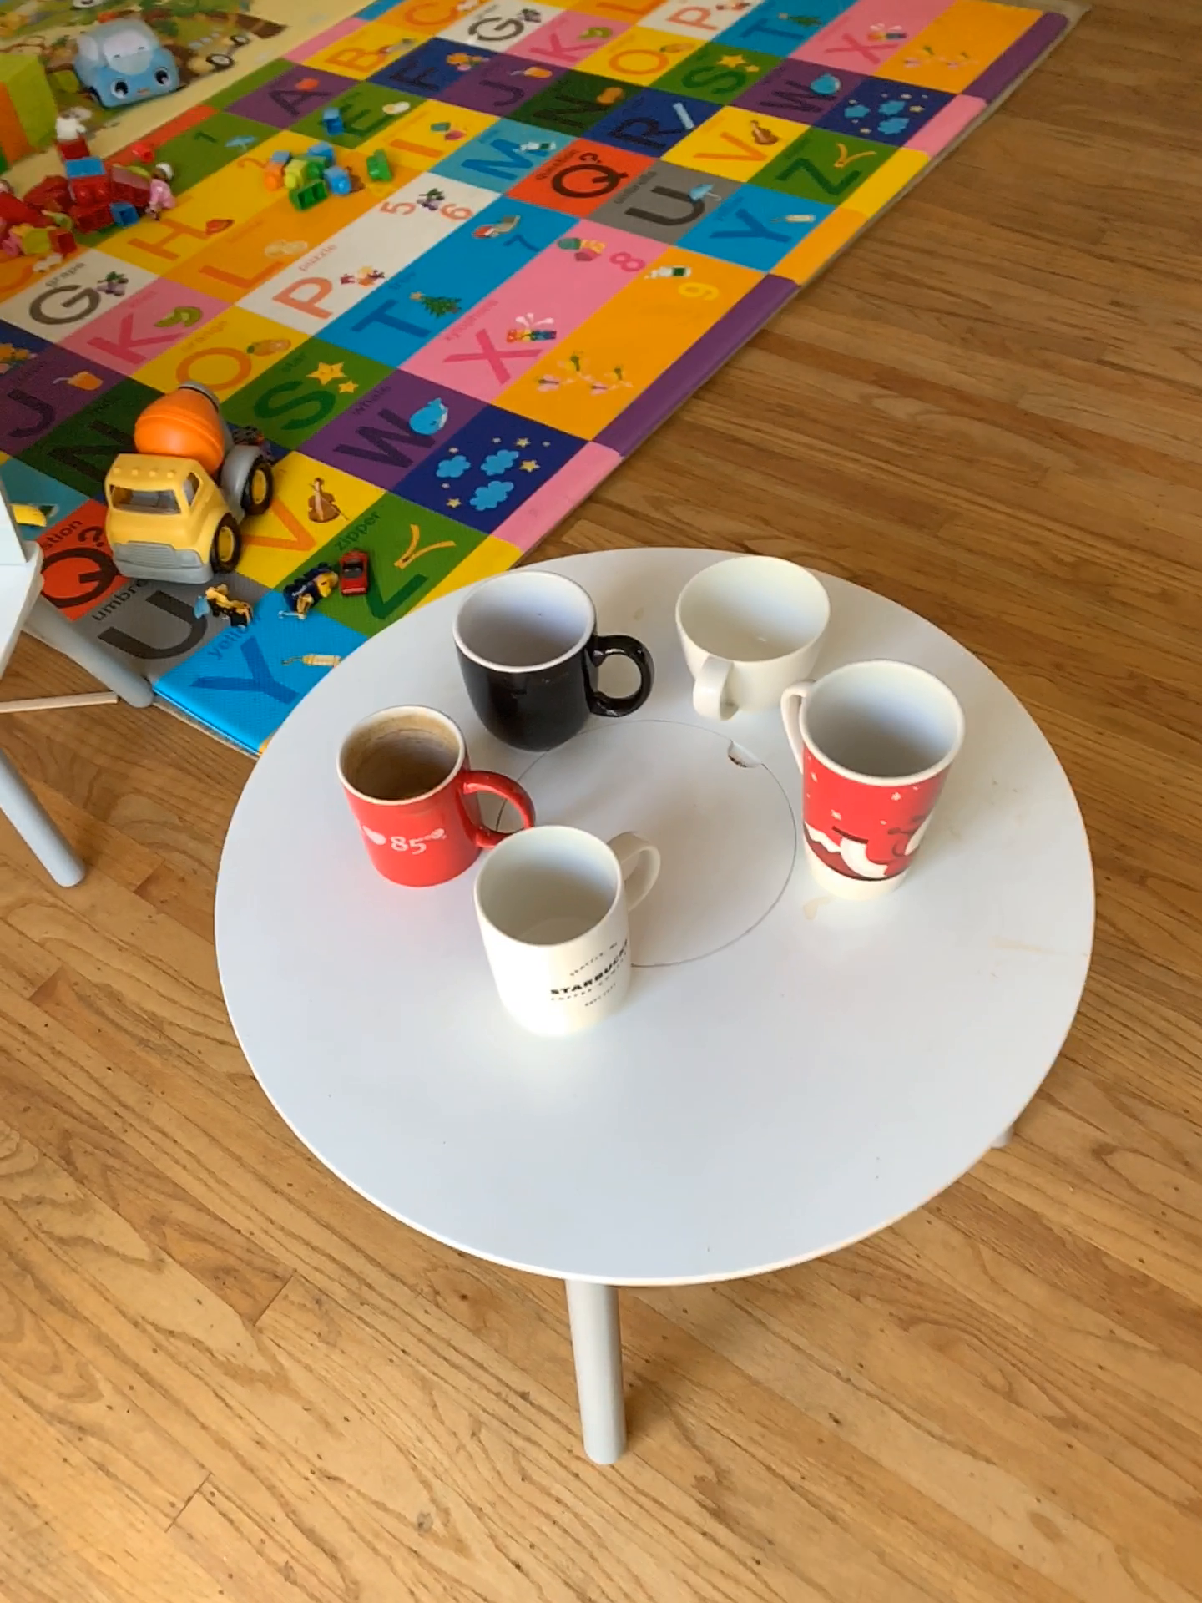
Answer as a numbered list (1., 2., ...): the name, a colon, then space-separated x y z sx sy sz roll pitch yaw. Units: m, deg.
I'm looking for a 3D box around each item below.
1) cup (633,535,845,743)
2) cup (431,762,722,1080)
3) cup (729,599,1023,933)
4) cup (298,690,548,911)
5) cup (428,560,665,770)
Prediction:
1. cup: 0.090 -0.107 0.792 0.100 0.040 0.120 17 56 16
2. cup: -0.011 0.068 0.705 0.130 0.100 0.090 -32 58 -18
3. cup: 0.159 -0.022 0.746 0.100 0.120 0.131 -29 57 -17
4. cup: -0.105 0.000 0.761 0.120 0.090 0.080 10 55 11
5. cup: -0.032 -0.091 0.811 0.130 0.080 0.090 10 55 11
